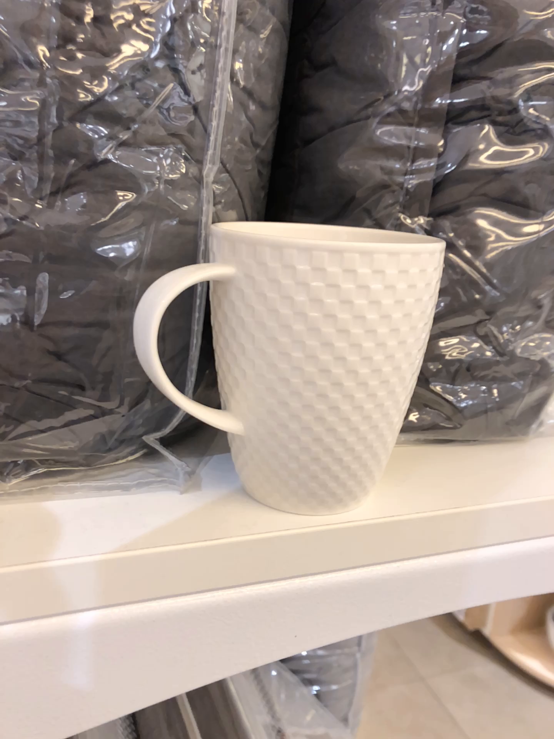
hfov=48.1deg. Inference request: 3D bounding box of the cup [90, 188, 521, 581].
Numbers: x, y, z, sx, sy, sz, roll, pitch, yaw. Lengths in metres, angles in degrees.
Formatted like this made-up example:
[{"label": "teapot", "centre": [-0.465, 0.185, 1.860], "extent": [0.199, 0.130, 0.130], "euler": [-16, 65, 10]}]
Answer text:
[{"label": "cup", "centre": [0.008, -0.008, 0.207], "extent": [0.110, 0.090, 0.080], "euler": [-8, 20, -39]}]
